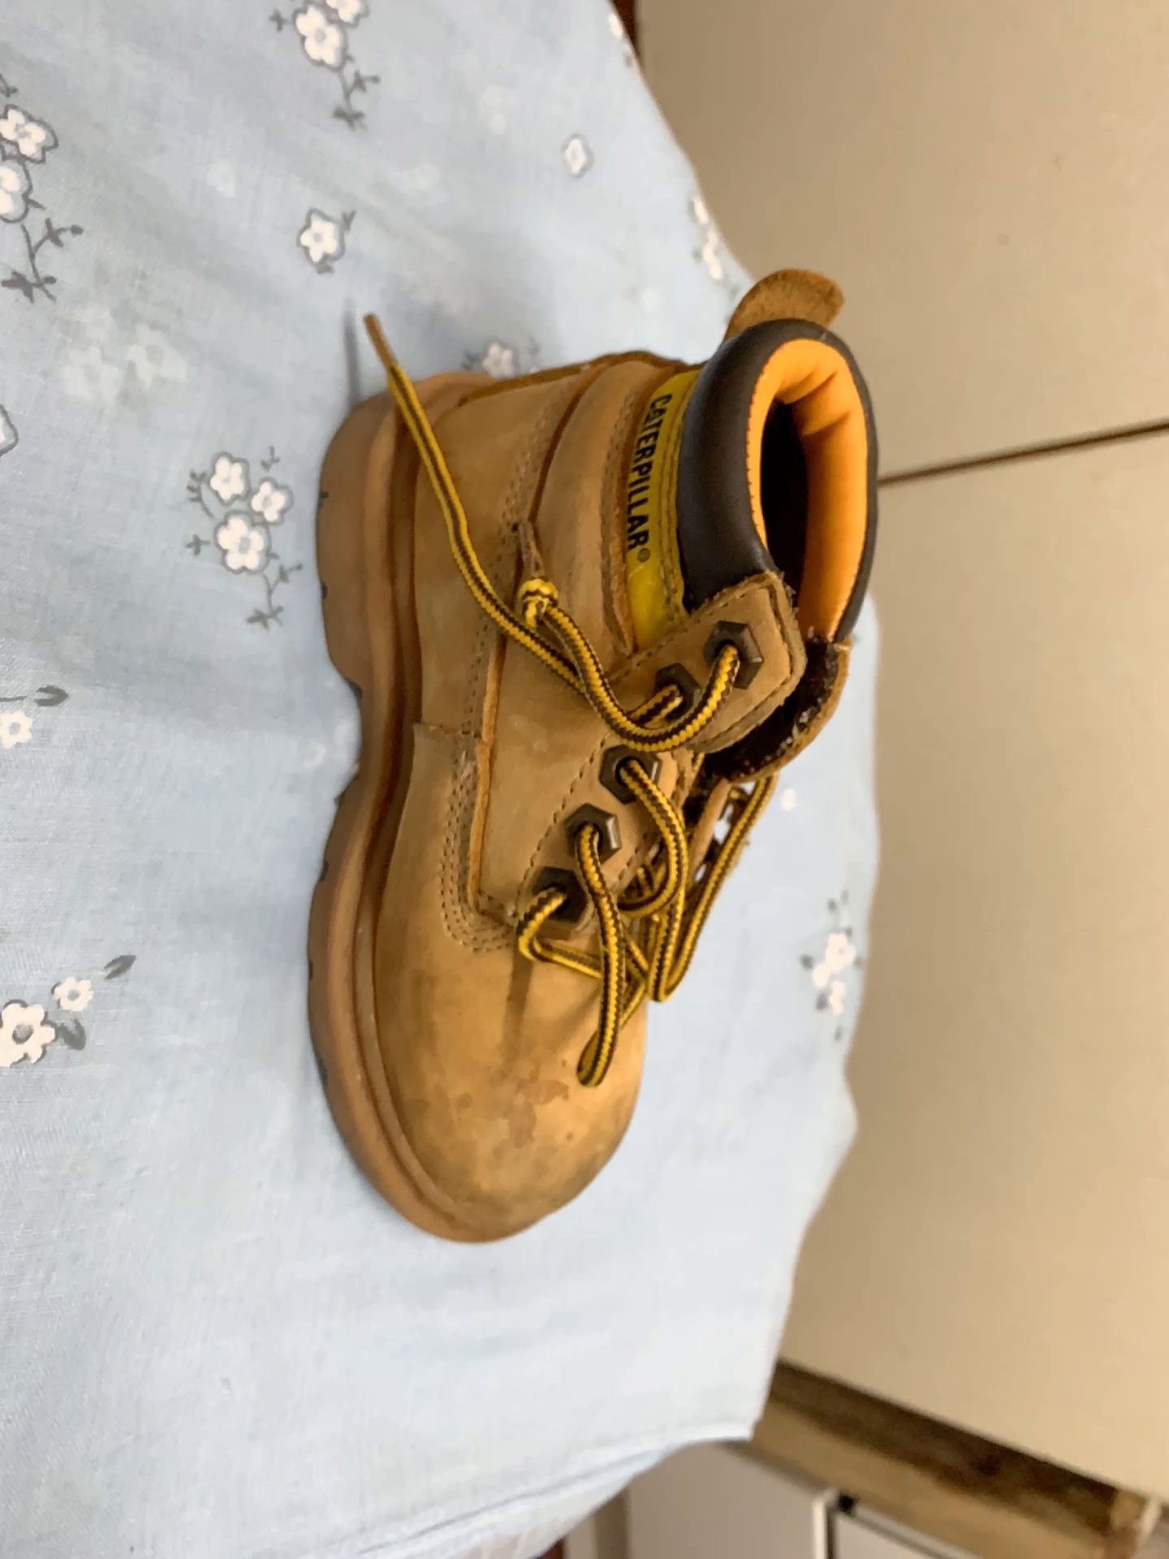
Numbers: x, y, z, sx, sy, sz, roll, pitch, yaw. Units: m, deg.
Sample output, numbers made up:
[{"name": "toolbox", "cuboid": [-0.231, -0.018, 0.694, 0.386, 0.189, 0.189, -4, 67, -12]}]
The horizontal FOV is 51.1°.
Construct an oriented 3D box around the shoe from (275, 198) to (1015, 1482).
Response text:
[{"name": "shoe", "cuboid": [0.011, 0.009, 0.257, 0.096, 0.119, 0.190, -1, 90, -46]}]
